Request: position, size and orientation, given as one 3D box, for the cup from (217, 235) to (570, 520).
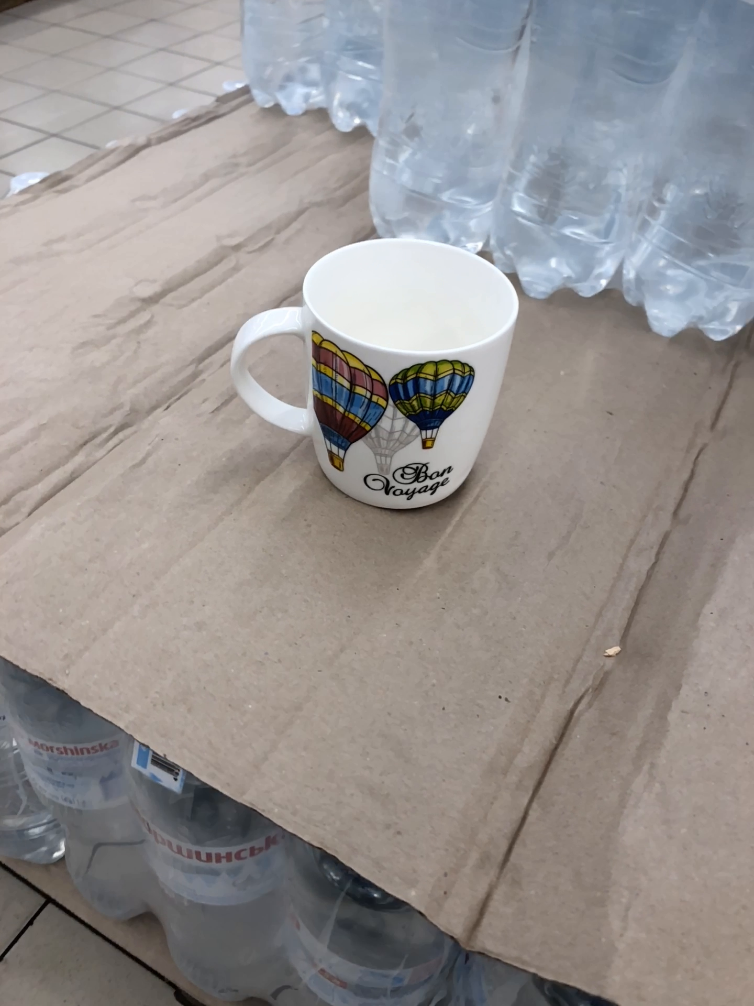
[{"bbox_3d":[0.006,-0.057,0.370,0.131,0.082,0.094,2,44,0],"label":"cup"}]
